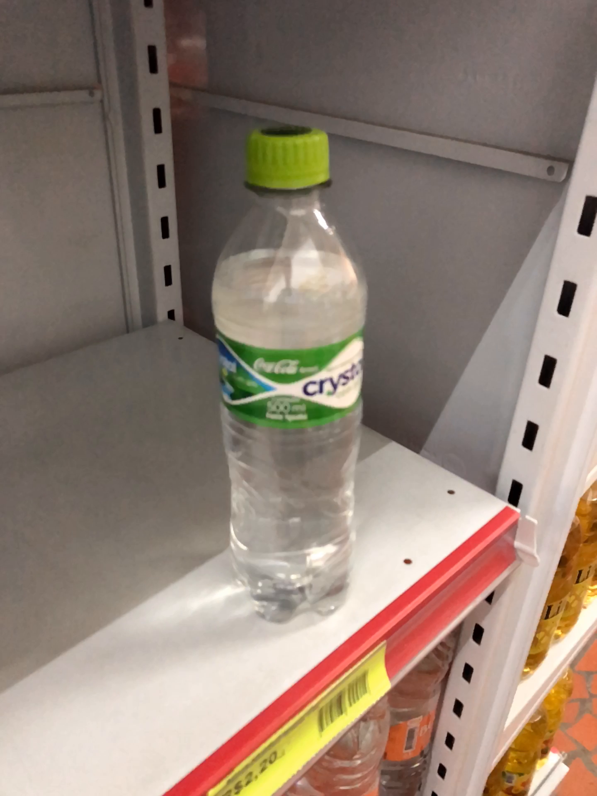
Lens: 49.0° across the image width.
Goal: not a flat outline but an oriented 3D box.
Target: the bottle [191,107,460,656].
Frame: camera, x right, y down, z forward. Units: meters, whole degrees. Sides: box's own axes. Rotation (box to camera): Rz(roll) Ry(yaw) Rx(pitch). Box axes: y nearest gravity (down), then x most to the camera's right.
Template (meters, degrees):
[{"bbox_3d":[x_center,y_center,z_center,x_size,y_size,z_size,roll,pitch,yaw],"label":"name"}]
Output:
[{"bbox_3d":[0.006,0.000,0.281,0.070,0.218,0.060,-23,39,-35],"label":"bottle"}]
